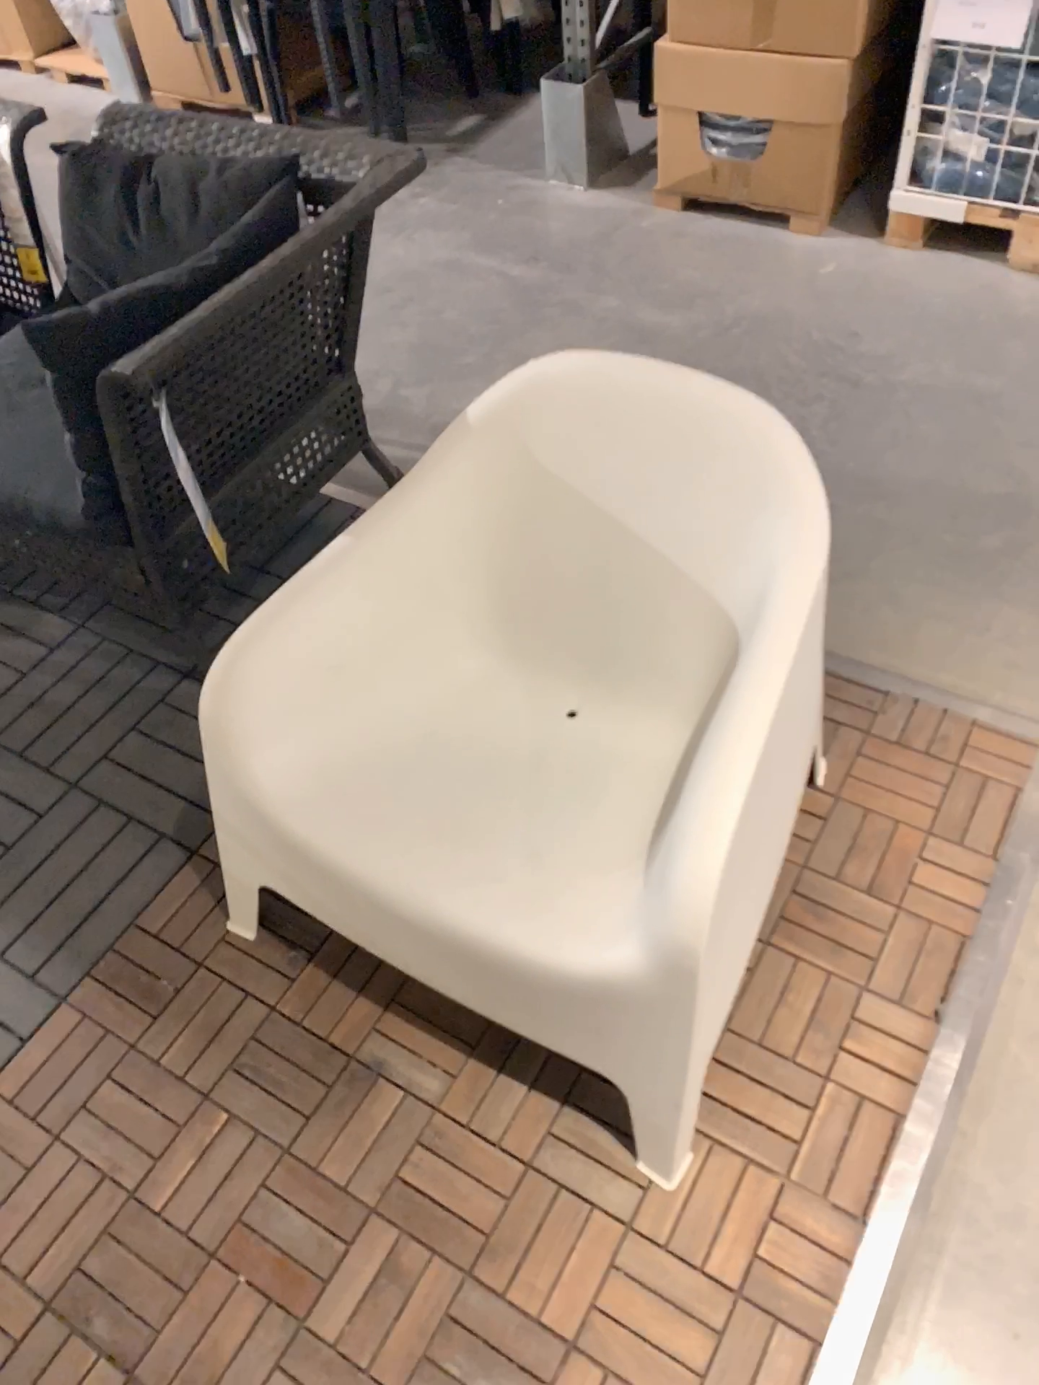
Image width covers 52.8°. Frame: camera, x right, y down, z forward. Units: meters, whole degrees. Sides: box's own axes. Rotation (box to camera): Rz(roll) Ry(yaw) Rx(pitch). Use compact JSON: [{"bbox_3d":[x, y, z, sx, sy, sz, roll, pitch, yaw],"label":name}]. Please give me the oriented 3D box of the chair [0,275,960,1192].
[{"bbox_3d":[-0.002,0.004,1.382,0.771,0.638,0.761,23,55,24],"label":"chair"}]
